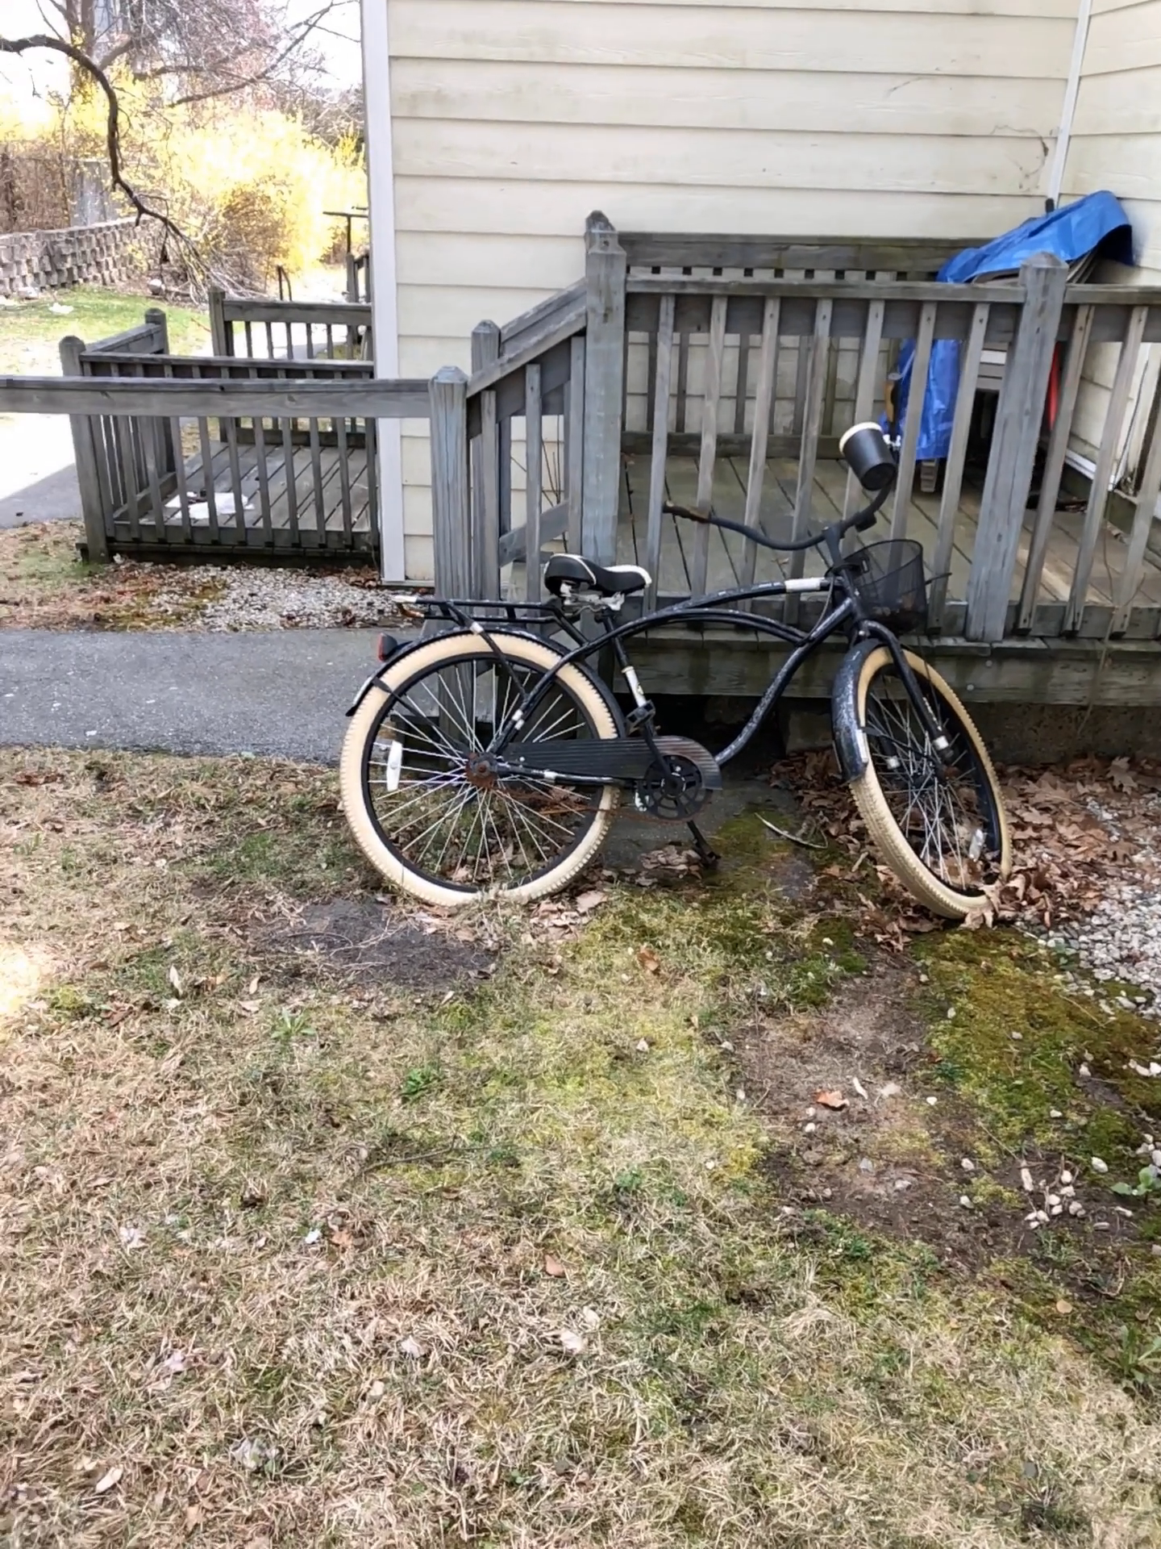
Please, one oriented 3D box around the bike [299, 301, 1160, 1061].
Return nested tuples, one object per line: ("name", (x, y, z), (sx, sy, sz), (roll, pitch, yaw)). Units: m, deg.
("bike", (0.341, -0.269, 2.880), (1.609, 1.313, 0.943), (-7, 26, -10))
